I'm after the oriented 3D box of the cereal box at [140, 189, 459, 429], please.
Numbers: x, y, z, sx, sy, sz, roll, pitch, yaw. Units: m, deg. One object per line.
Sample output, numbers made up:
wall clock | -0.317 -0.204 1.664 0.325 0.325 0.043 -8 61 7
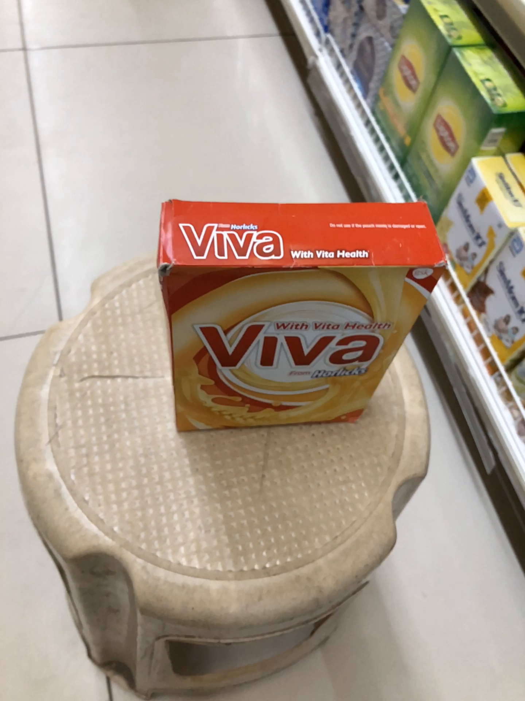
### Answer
cereal box | 0.008 -0.015 0.386 0.160 0.199 0.050 -2 60 -9
